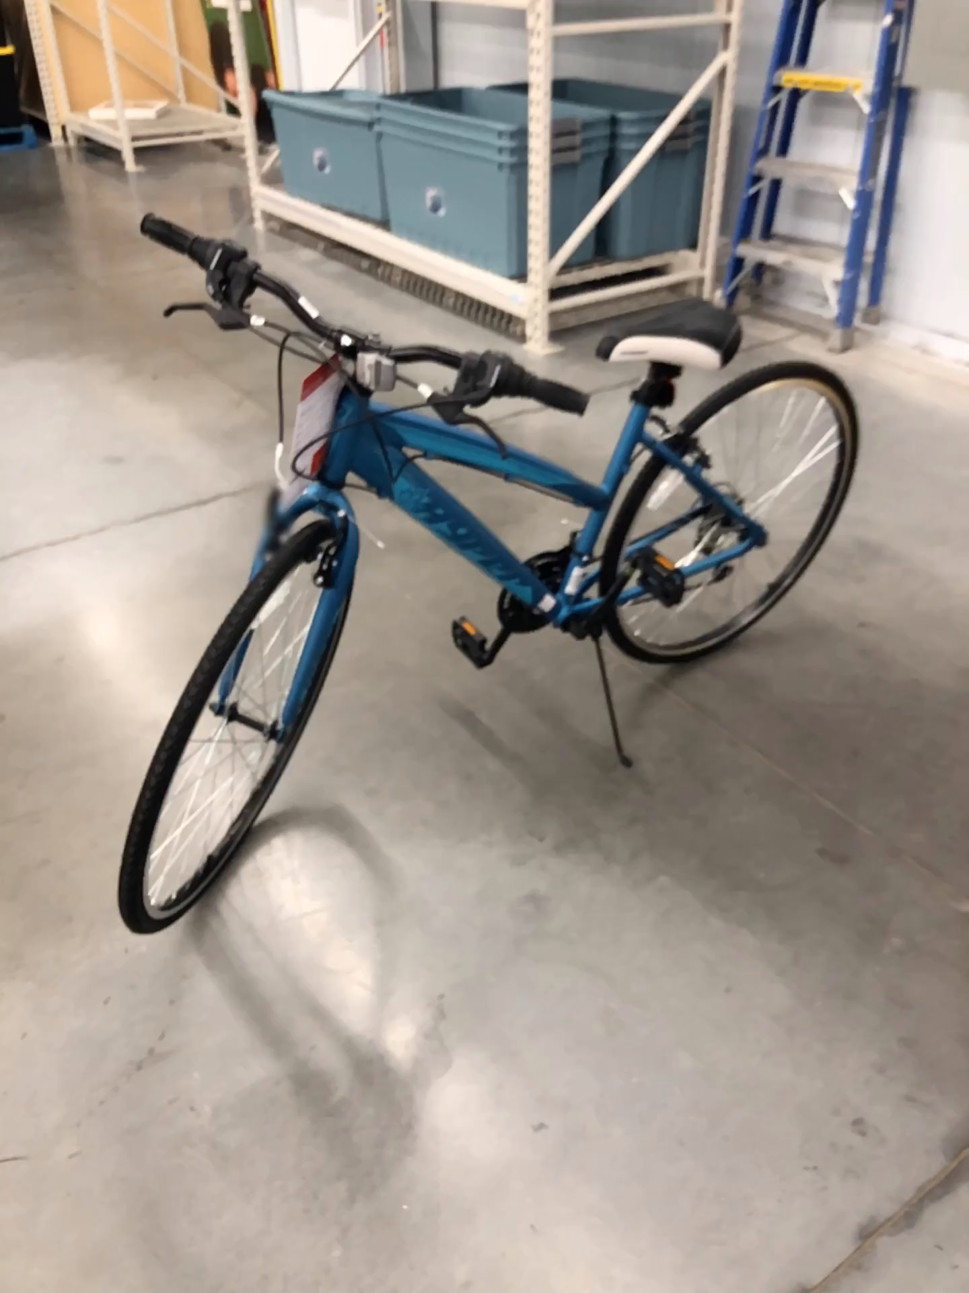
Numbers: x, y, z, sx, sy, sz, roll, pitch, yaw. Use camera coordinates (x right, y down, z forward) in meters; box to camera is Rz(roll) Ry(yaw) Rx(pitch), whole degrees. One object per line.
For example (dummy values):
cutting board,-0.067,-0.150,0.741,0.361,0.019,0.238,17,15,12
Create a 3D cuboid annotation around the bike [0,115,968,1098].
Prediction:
bike,0.129,-0.231,1.725,1.608,0.978,0.580,-25,41,-34
